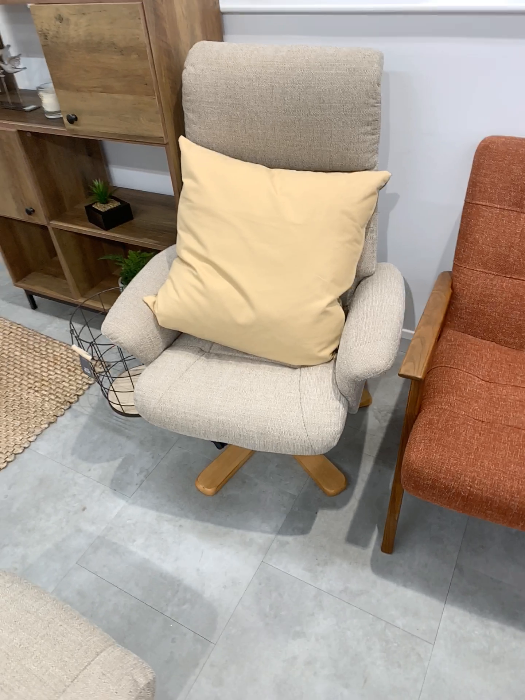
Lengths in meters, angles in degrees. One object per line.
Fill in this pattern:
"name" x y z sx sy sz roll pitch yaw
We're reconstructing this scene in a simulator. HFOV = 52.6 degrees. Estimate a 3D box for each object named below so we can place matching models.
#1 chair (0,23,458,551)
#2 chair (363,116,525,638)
"chair" -0.027 -0.150 1.368 0.761 1.047 0.664 11 42 11
"chair" 0.622 0.020 1.236 0.551 0.919 0.622 13 36 21
